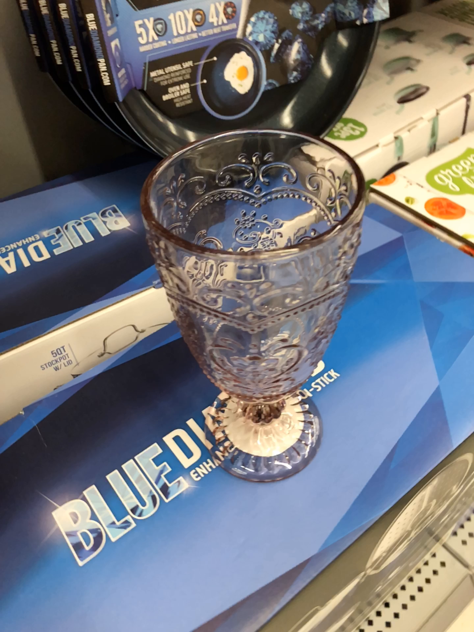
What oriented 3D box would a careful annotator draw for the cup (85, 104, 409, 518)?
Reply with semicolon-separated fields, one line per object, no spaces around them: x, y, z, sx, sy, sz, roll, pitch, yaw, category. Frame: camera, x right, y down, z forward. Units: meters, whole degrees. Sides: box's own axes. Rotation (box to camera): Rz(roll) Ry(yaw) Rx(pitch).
0.012;0.005;0.257;0.086;0.168;0.089;-3;47;4;cup
